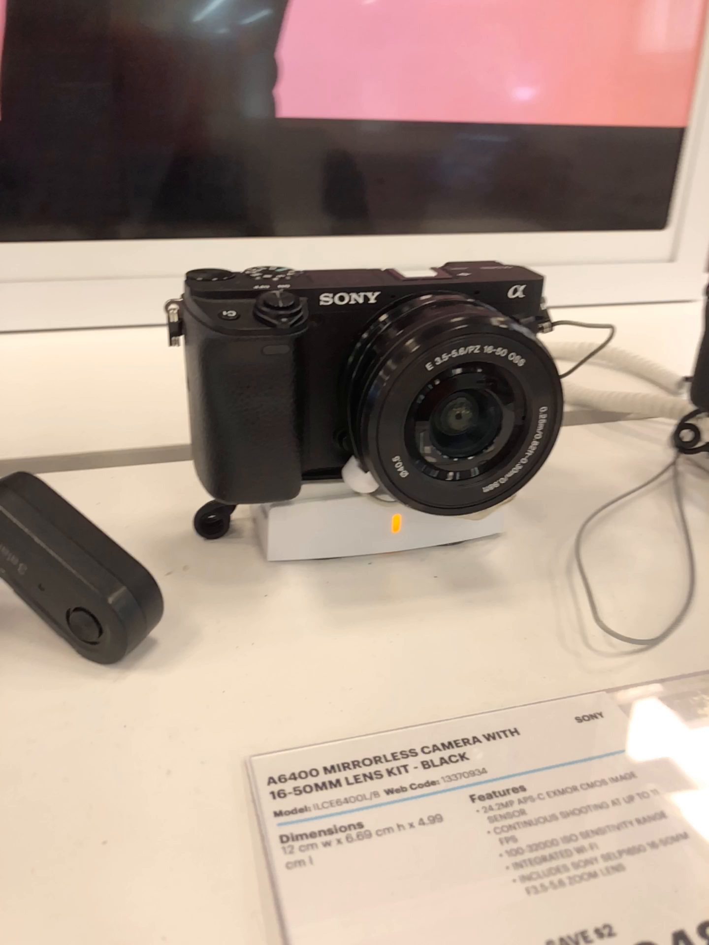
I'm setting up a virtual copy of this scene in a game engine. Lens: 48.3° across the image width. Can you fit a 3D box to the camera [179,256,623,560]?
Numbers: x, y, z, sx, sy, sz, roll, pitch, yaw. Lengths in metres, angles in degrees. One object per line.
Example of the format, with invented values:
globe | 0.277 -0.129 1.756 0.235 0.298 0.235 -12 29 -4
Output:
camera | 0.010 -0.027 0.258 0.120 0.070 0.070 -6 26 -16
